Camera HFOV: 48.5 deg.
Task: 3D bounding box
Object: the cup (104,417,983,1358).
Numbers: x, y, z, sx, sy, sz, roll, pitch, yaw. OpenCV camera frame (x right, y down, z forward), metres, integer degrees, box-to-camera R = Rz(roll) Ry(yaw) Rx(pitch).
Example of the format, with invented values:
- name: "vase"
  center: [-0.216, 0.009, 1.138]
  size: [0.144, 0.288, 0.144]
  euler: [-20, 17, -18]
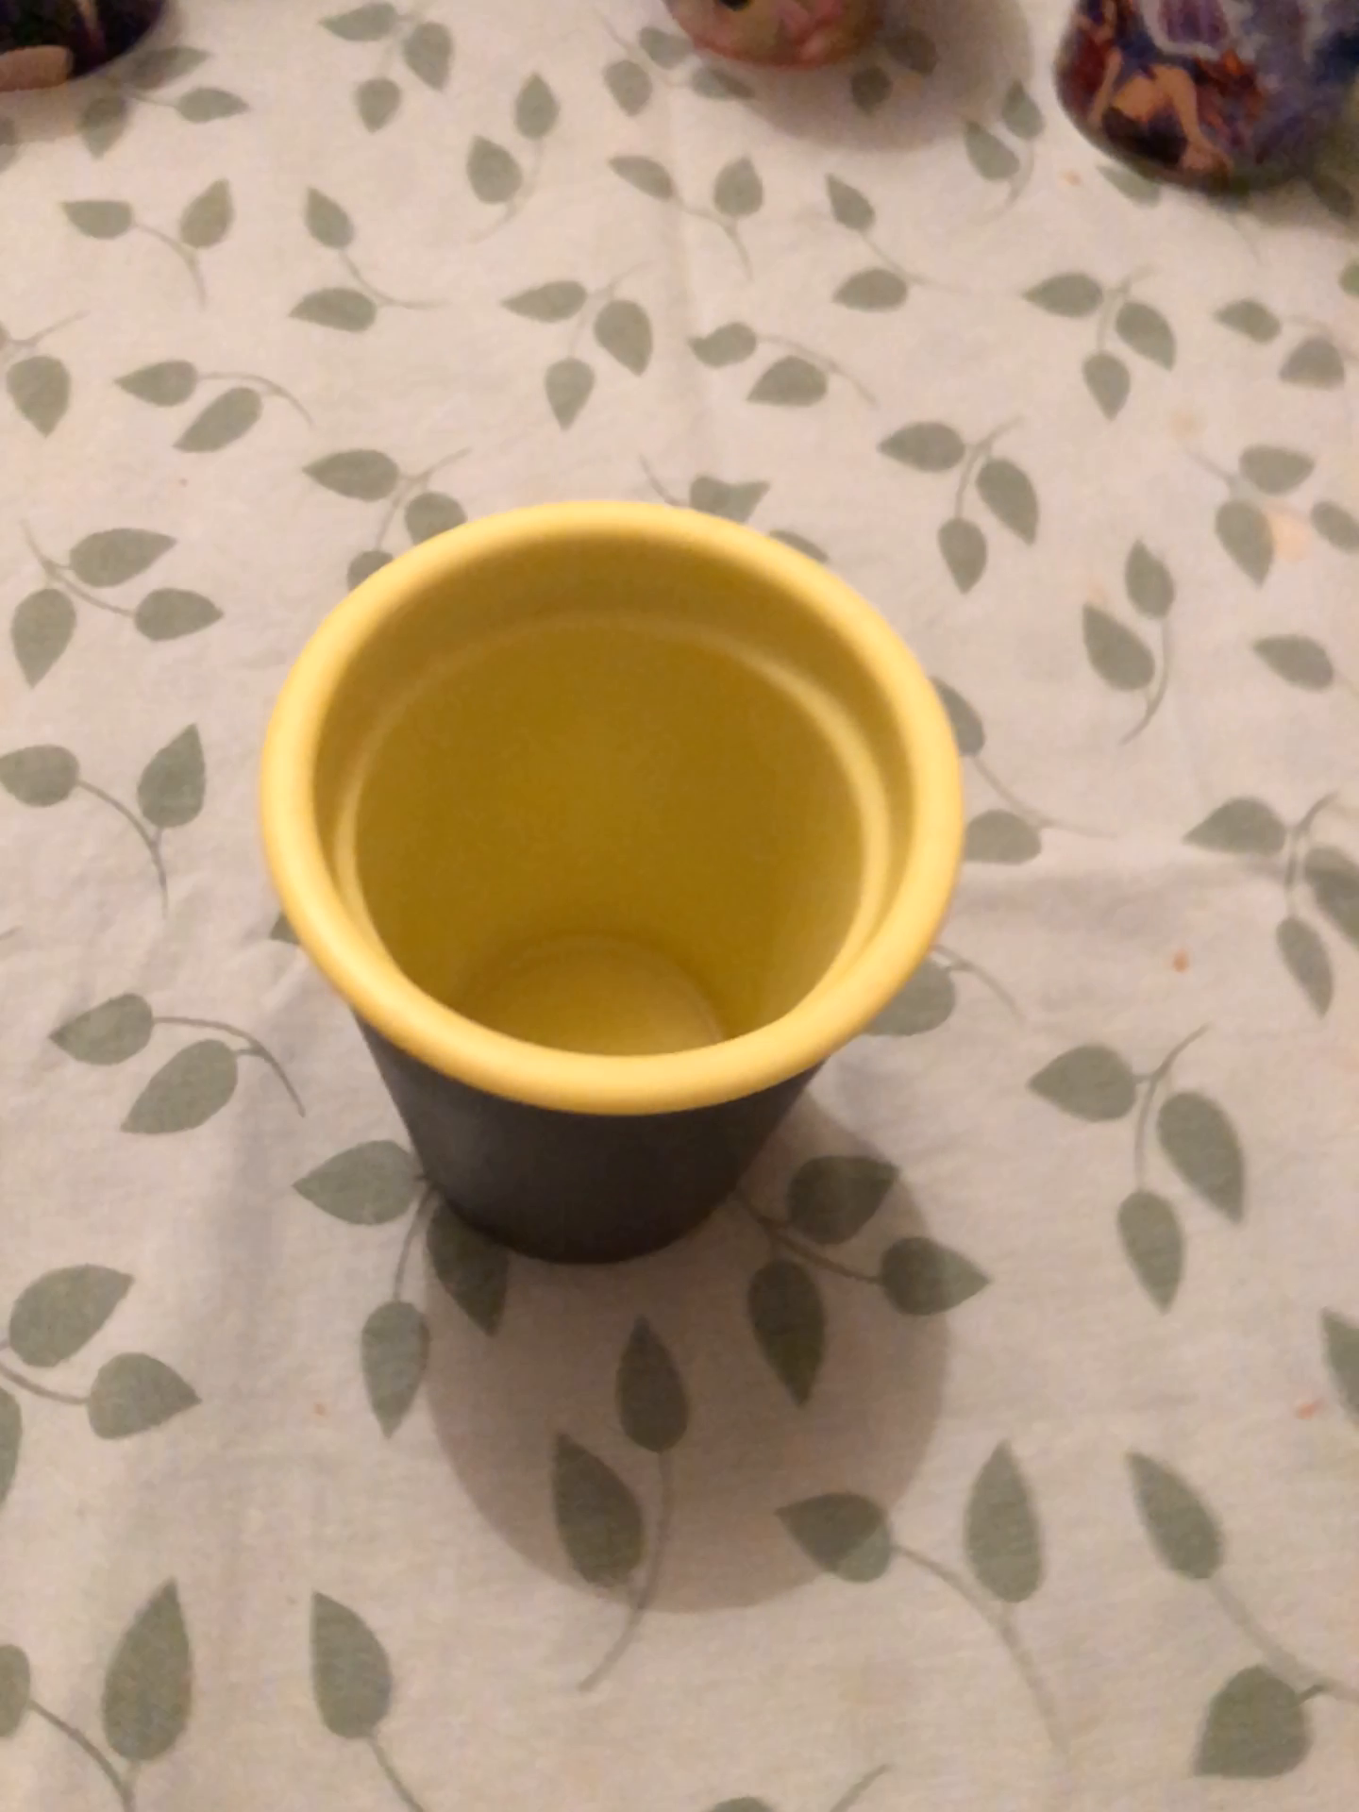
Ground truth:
- name: "cup"
  center: [-0.015, 0.006, 0.230]
  size: [0.090, 0.109, 0.090]
  euler: [2, 63, -4]
